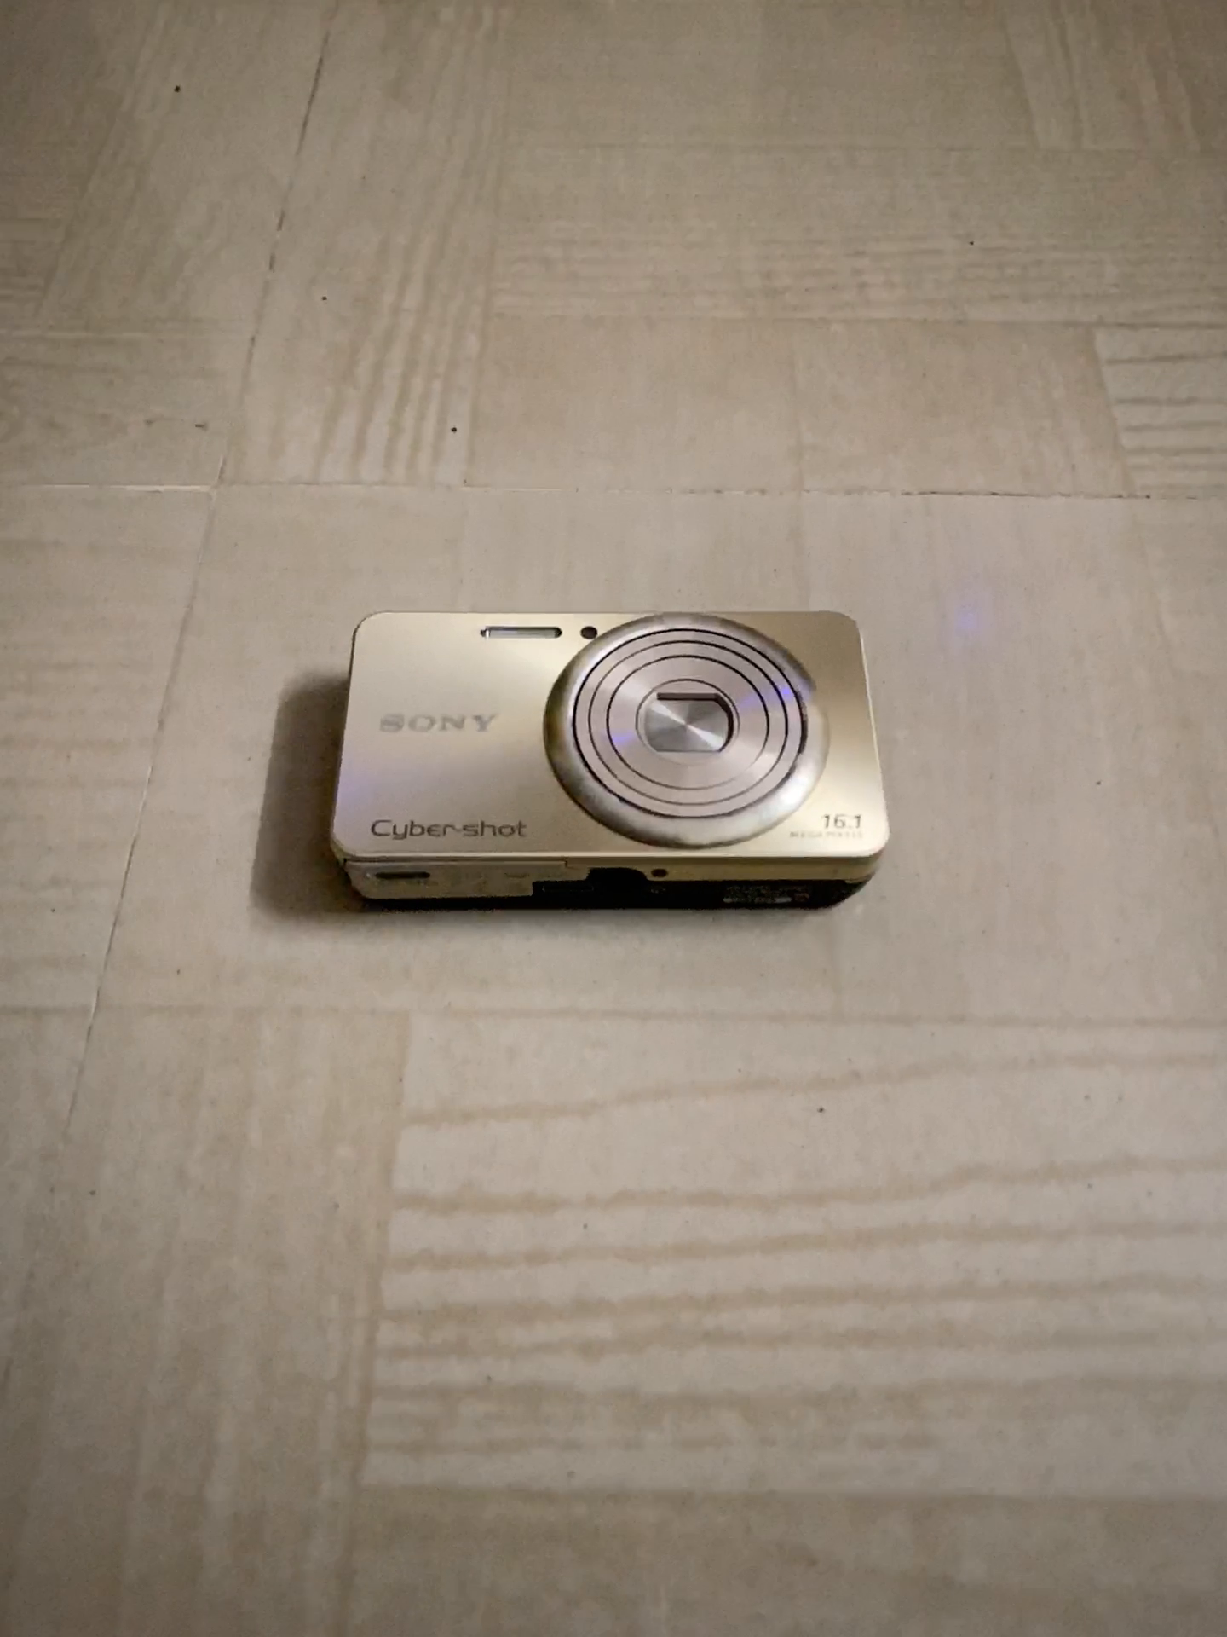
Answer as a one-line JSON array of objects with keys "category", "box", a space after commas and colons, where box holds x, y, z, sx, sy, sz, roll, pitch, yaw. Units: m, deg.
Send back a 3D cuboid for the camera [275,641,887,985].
[{"category": "camera", "box": [-0.005, -0.002, 0.224, 0.097, 0.019, 0.057, 1, 59, -1]}]
